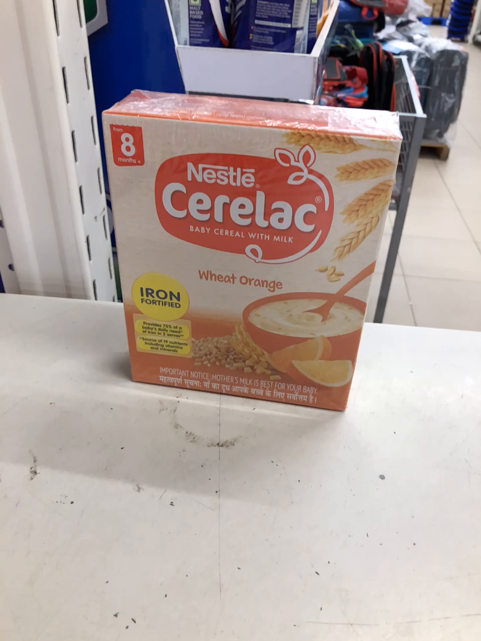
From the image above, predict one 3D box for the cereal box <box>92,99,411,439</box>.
[{"bbox_3d":[0.004,-0.025,0.340,0.160,0.199,0.050,7,34,7],"label":"cereal box"}]
